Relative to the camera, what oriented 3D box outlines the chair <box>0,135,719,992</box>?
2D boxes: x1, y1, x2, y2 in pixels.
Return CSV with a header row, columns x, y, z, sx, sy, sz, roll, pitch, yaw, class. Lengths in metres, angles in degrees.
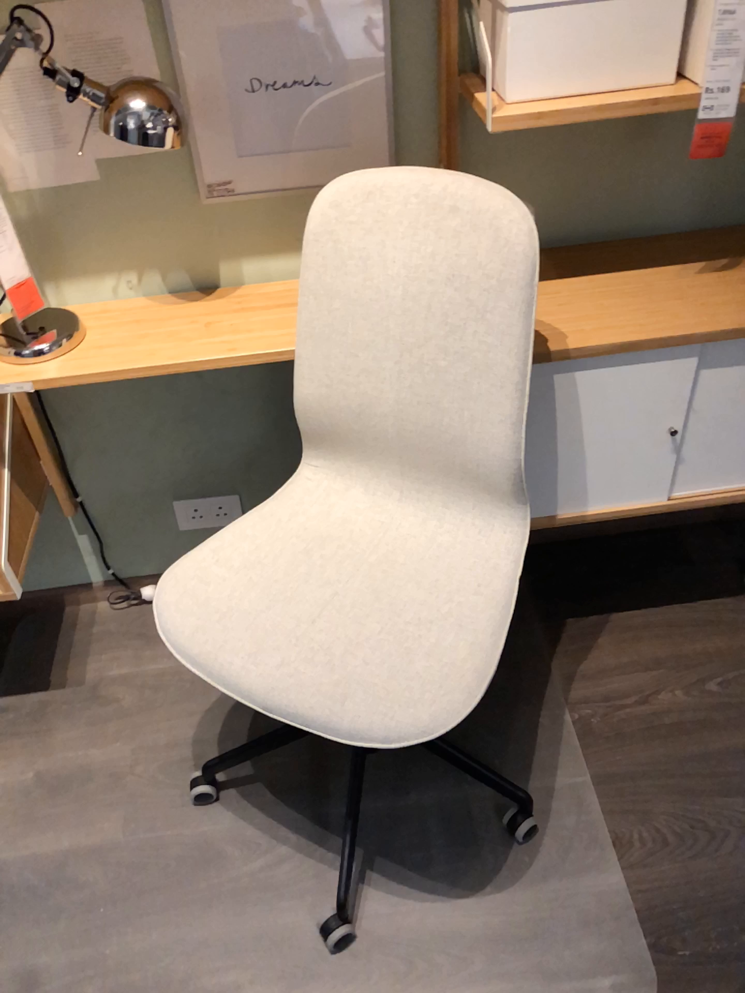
x,y,z,sx,sy,sz,roll,pitch,yaw,class
-0.017,0.099,1.135,0.621,0.904,0.653,20,46,26,chair
